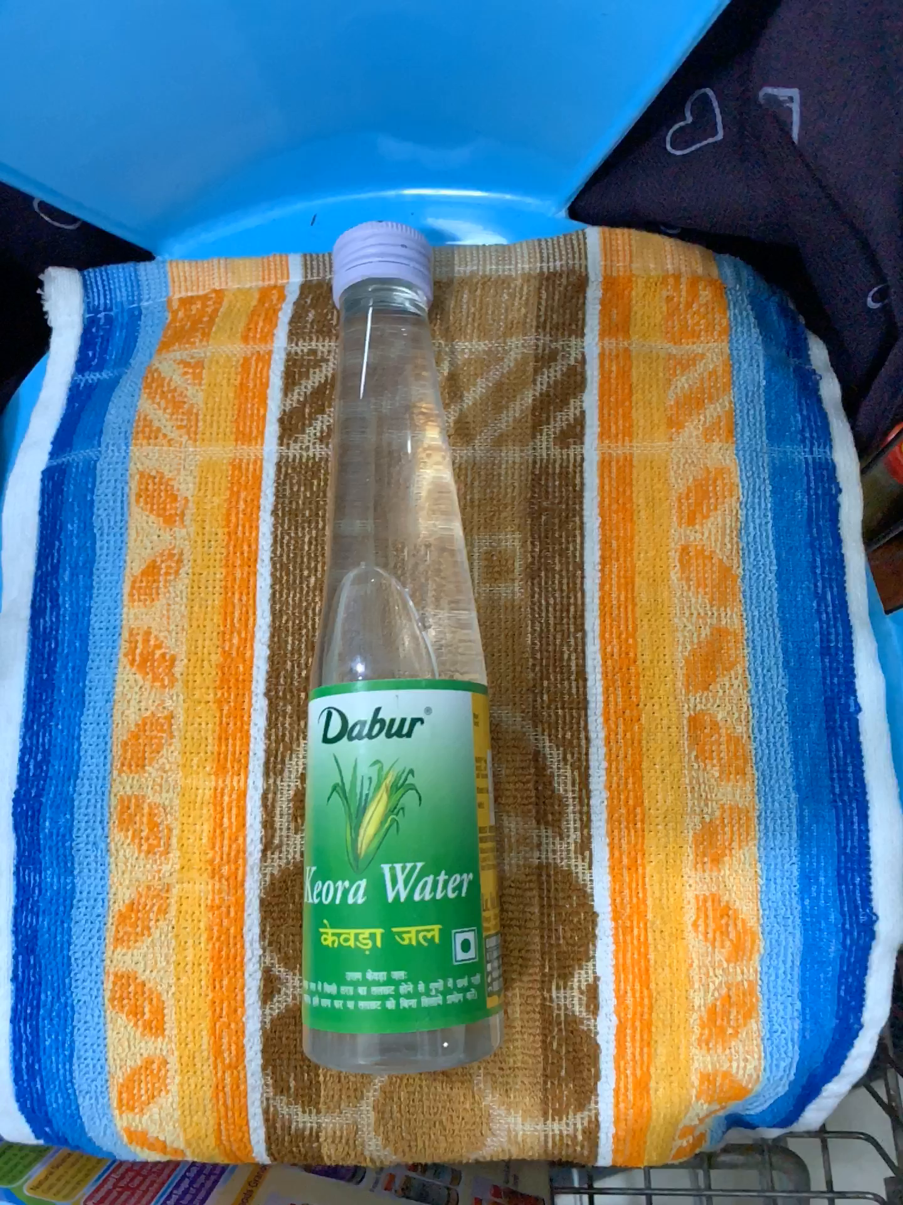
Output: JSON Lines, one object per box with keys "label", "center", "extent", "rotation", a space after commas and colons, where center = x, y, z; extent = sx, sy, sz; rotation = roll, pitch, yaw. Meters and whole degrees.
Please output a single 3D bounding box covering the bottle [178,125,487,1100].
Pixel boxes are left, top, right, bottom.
{"label": "bottle", "center": [-0.027, 0.000, 0.218], "extent": [0.050, 0.050, 0.200], "rotation": [-5, 82, 7]}
